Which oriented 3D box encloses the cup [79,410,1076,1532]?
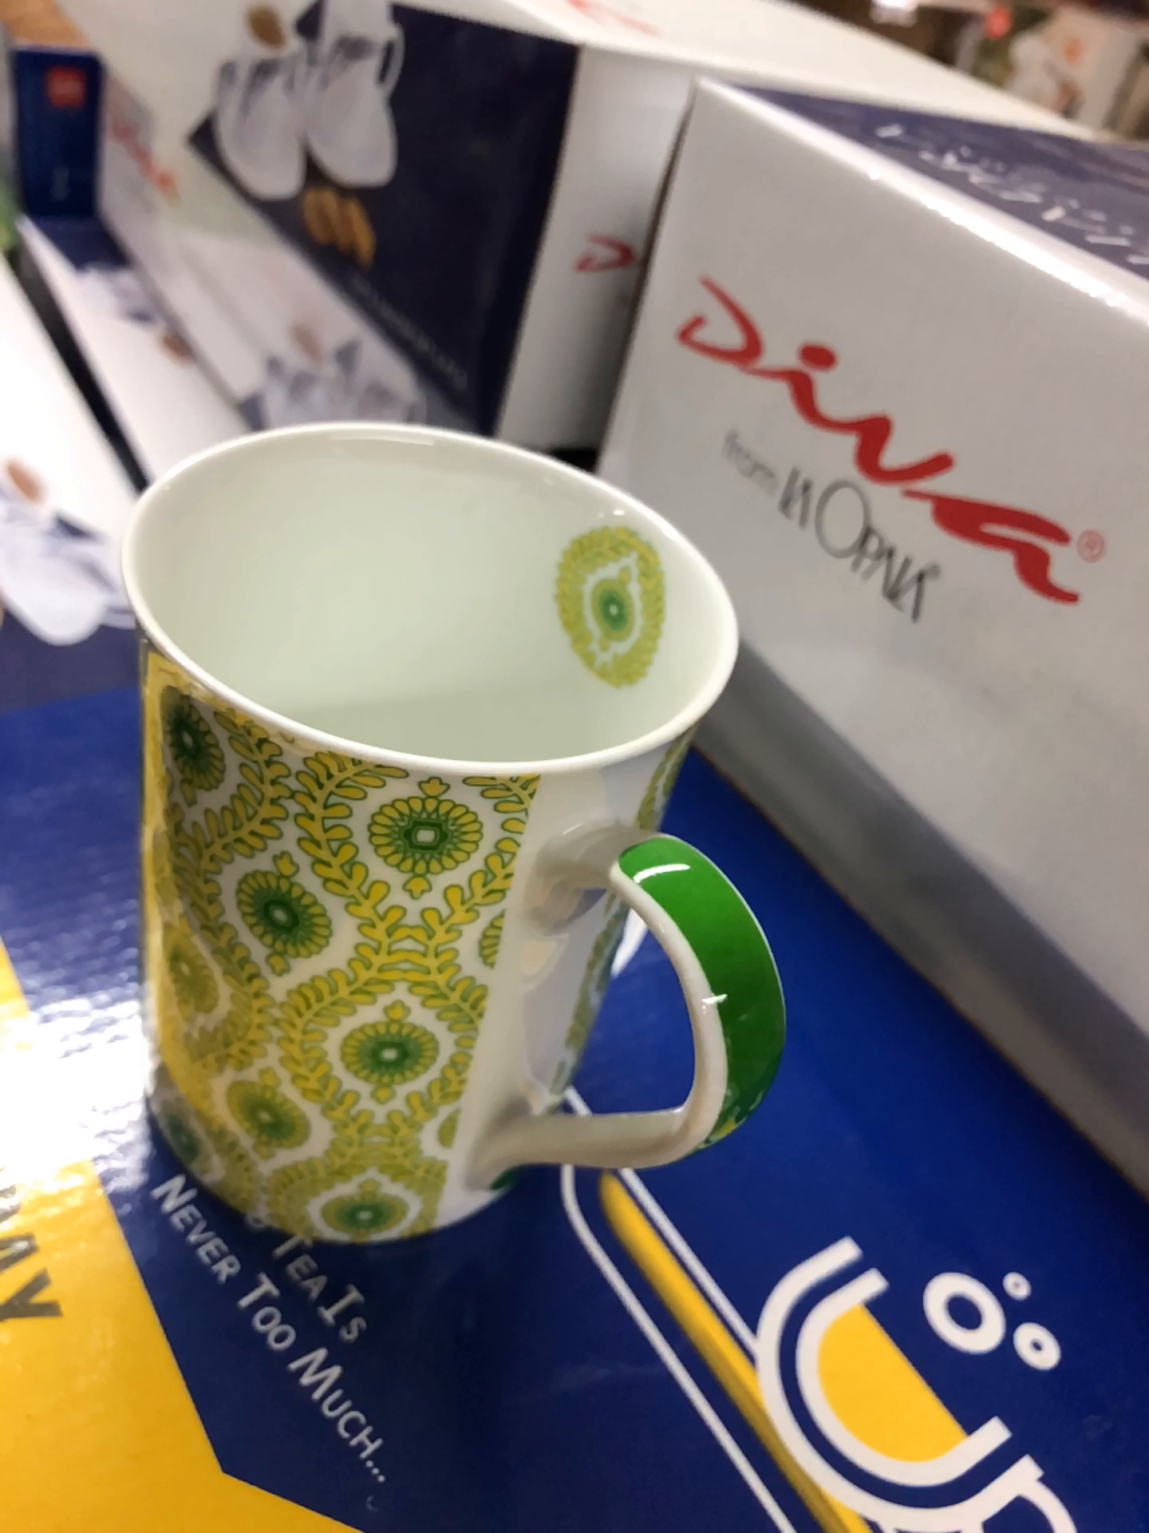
[{"bbox_3d":[-0.014,0.020,0.170,0.070,0.089,0.100,-12,45,-30],"label":"cup"}]
